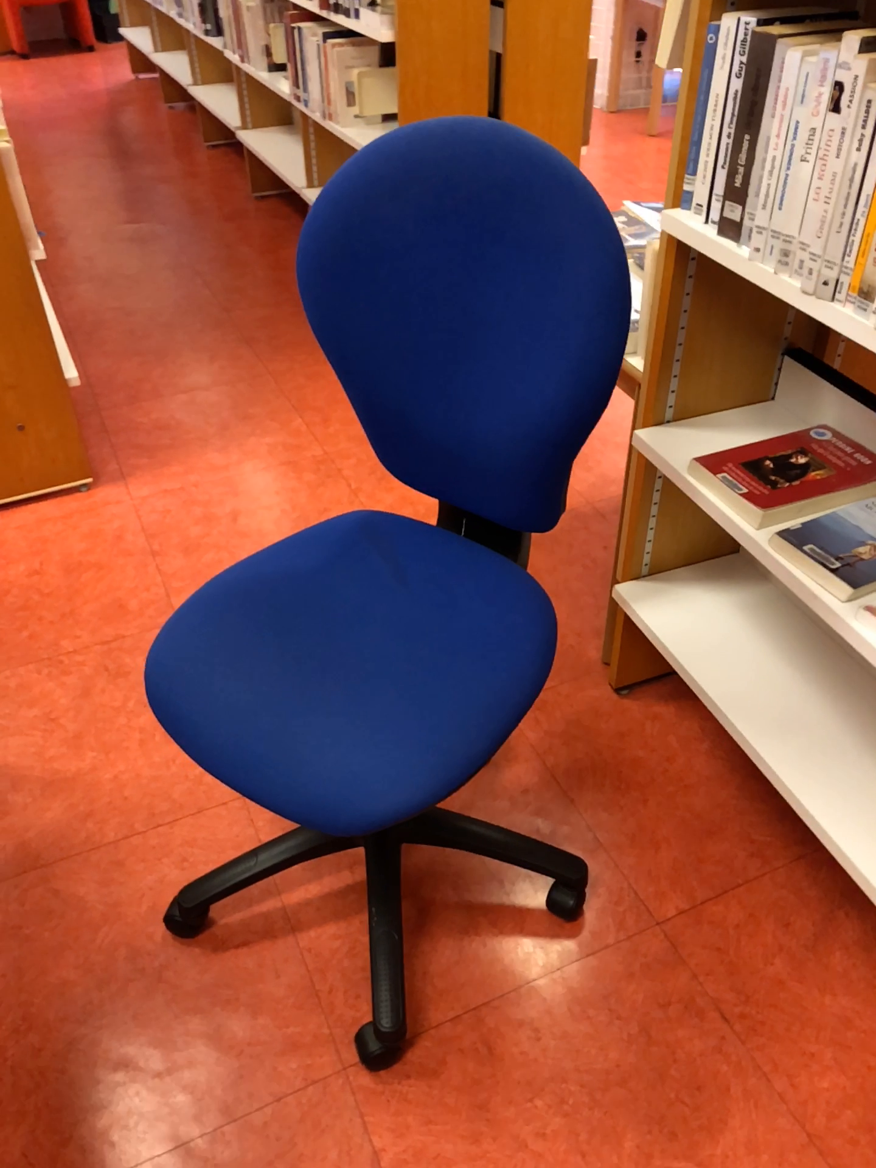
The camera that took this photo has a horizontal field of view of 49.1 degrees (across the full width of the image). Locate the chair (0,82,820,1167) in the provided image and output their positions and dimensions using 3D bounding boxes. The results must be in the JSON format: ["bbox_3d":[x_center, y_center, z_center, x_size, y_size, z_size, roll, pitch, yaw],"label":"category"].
[{"bbox_3d":[-0.107,0.009,1.135,0.661,0.914,0.623,30,48,33],"label":"chair"}]
